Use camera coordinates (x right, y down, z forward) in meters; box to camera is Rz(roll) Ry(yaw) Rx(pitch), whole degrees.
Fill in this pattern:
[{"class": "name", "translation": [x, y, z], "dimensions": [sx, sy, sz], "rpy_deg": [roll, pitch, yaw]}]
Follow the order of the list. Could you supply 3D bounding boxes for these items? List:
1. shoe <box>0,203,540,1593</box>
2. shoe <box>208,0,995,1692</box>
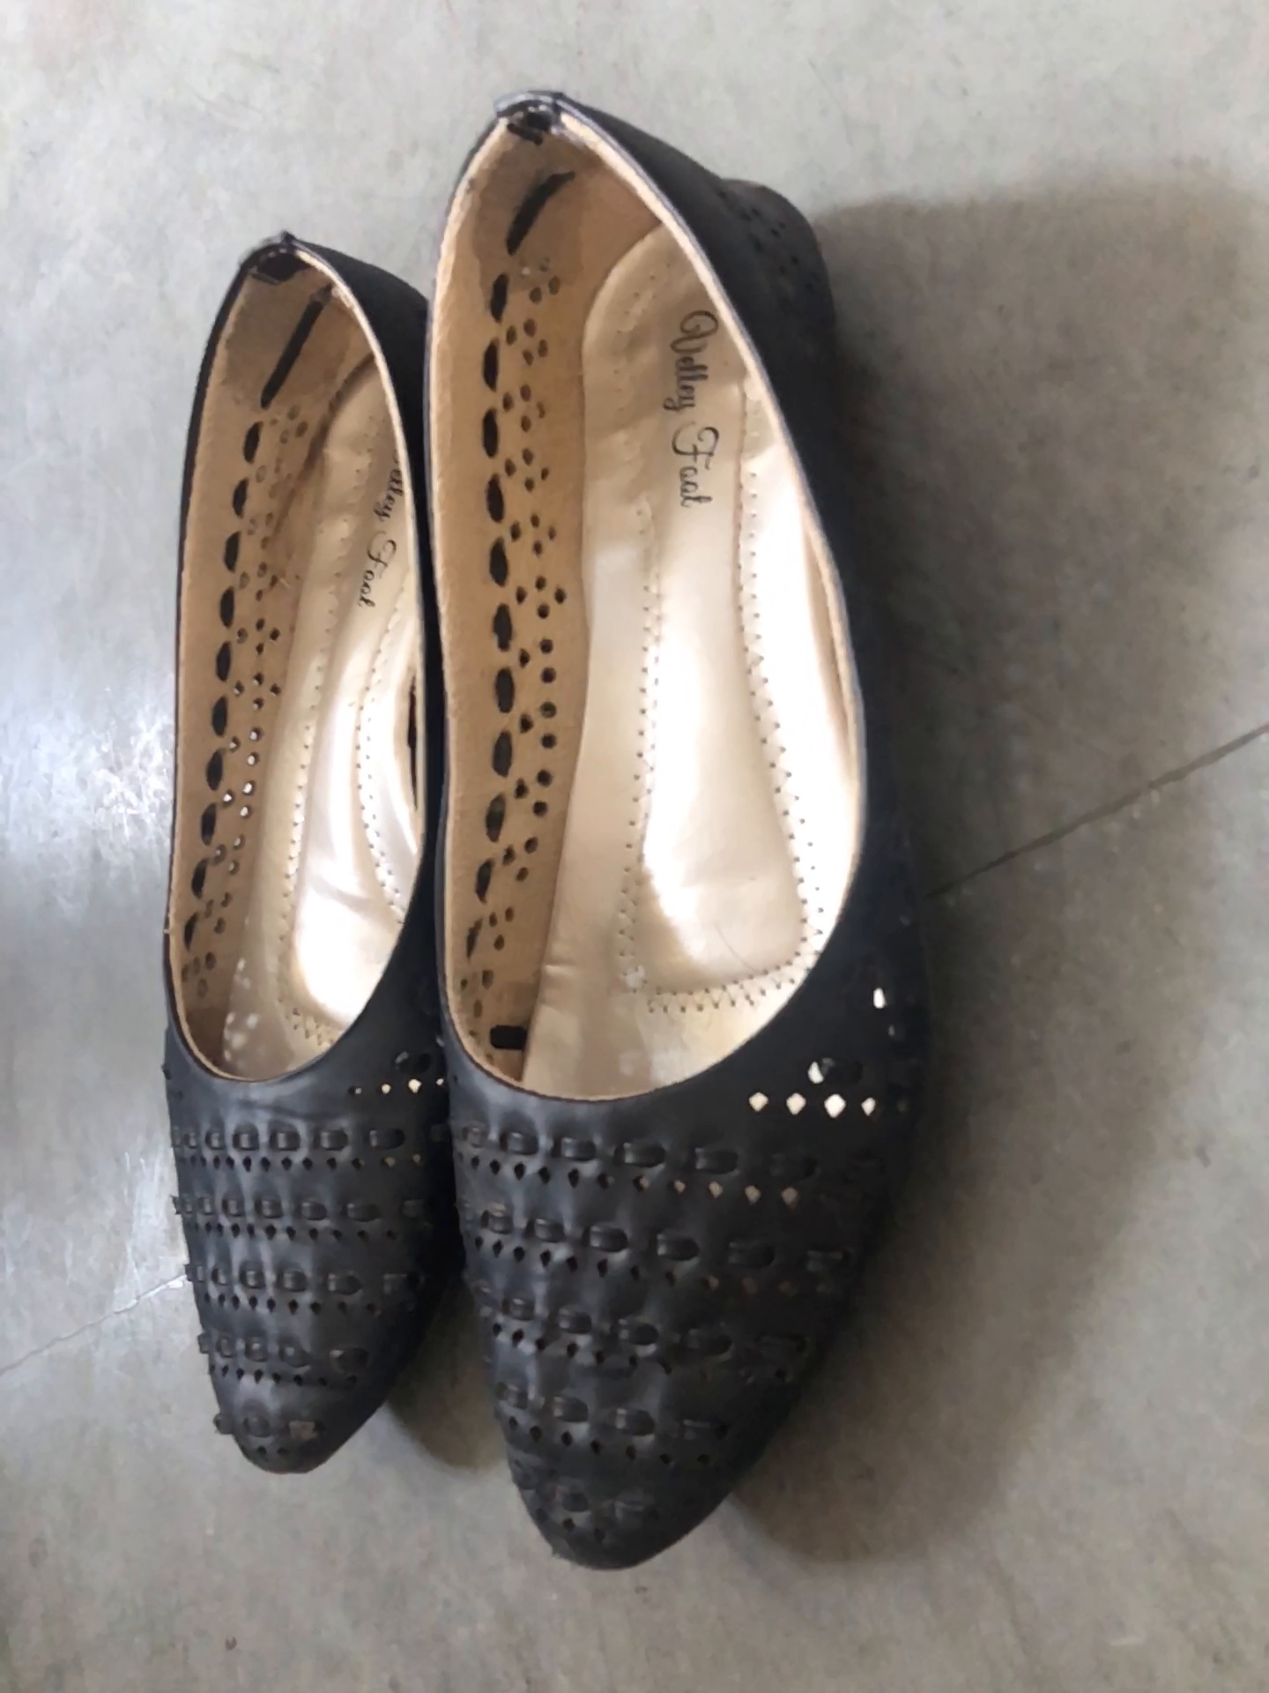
[{"class": "shoe", "translation": [-0.085, 0.007, 0.295], "dimensions": [0.096, 0.062, 0.242], "rpy_deg": [-5, 77, 37]}, {"class": "shoe", "translation": [-0.003, -0.004, 0.241], "dimensions": [0.096, 0.073, 0.242], "rpy_deg": [-8, 75, 36]}]
